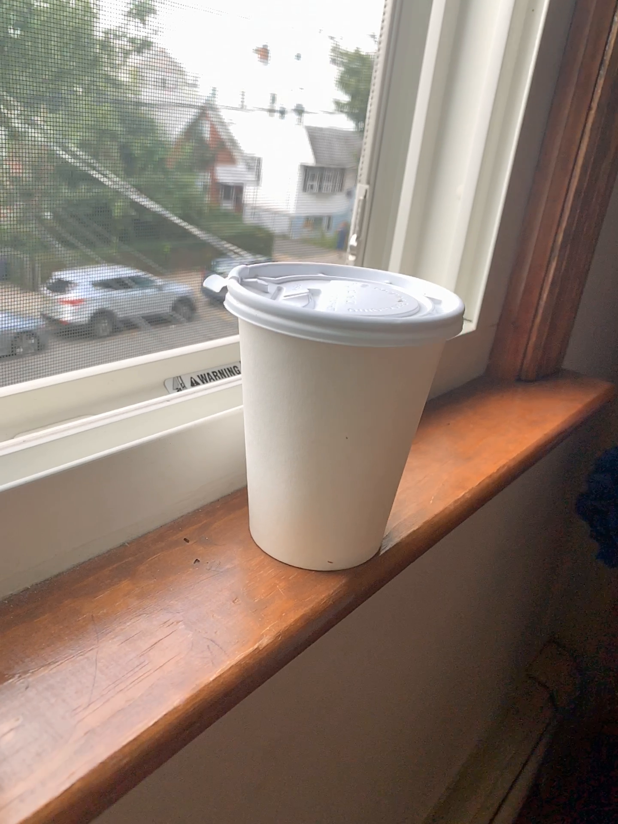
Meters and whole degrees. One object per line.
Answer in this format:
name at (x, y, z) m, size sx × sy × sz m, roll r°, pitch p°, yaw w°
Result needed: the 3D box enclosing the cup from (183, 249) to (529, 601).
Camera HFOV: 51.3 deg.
cup at (0.010, -0.005, 0.256) m, size 0.090 × 0.099 × 0.090 m, roll 6°, pitch 23°, yaw -3°
